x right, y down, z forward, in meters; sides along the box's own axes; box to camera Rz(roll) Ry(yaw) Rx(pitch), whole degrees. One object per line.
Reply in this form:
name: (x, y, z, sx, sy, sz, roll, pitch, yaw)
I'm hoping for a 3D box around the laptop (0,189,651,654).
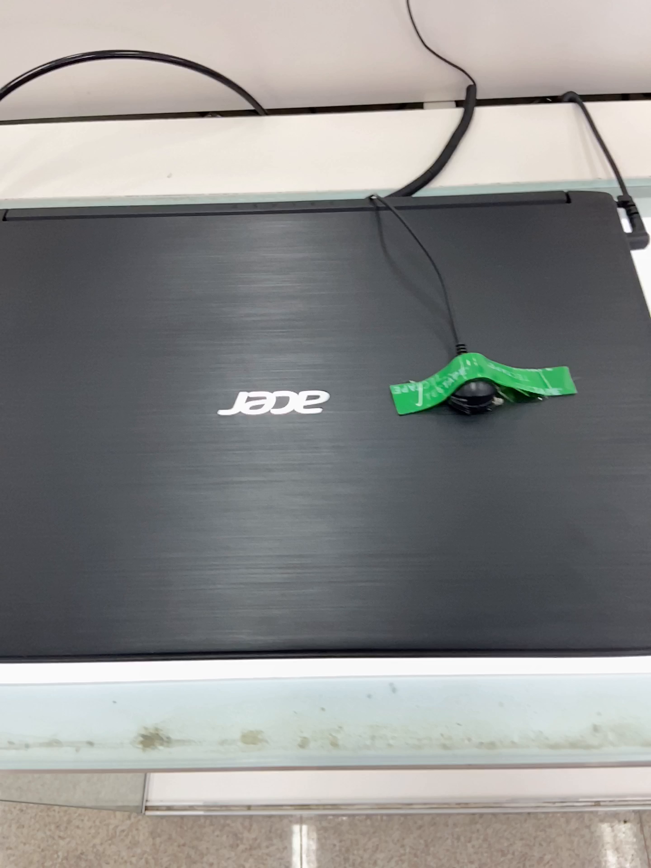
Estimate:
laptop: (-0.017, -0.026, 0.326, 0.386, 0.001, 0.248, -2, 60, 2)
